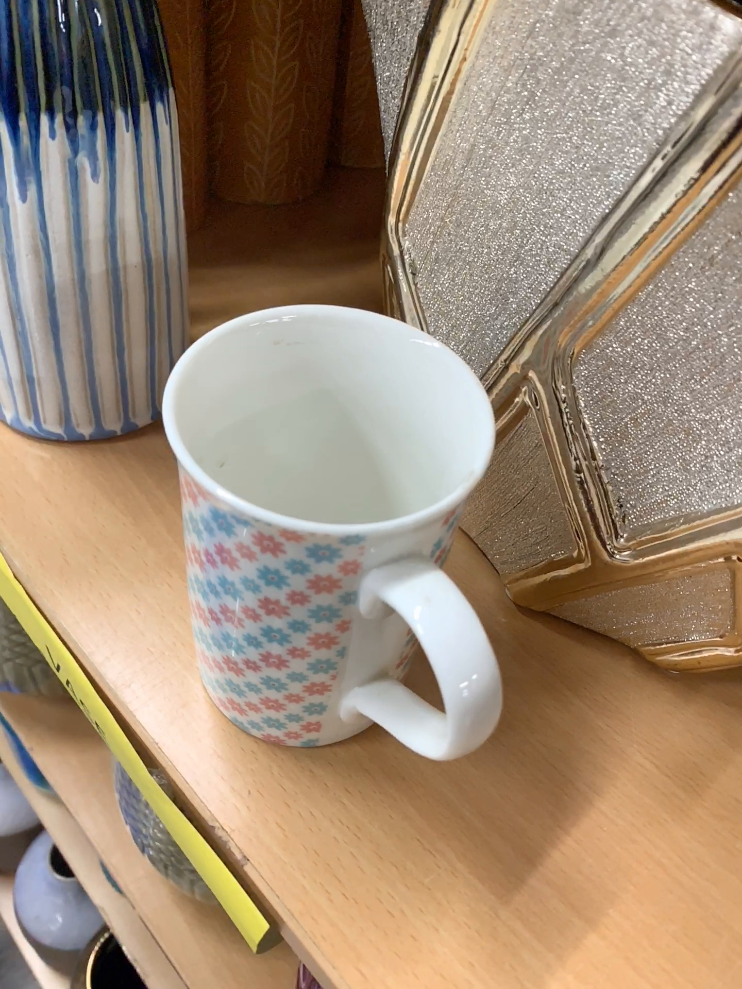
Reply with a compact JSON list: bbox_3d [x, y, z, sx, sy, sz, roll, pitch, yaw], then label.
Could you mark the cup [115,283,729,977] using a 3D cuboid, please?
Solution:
[{"bbox_3d":[-0.003,0.030,0.202,0.080,0.110,0.120,-18,53,-26],"label":"cup"}]
